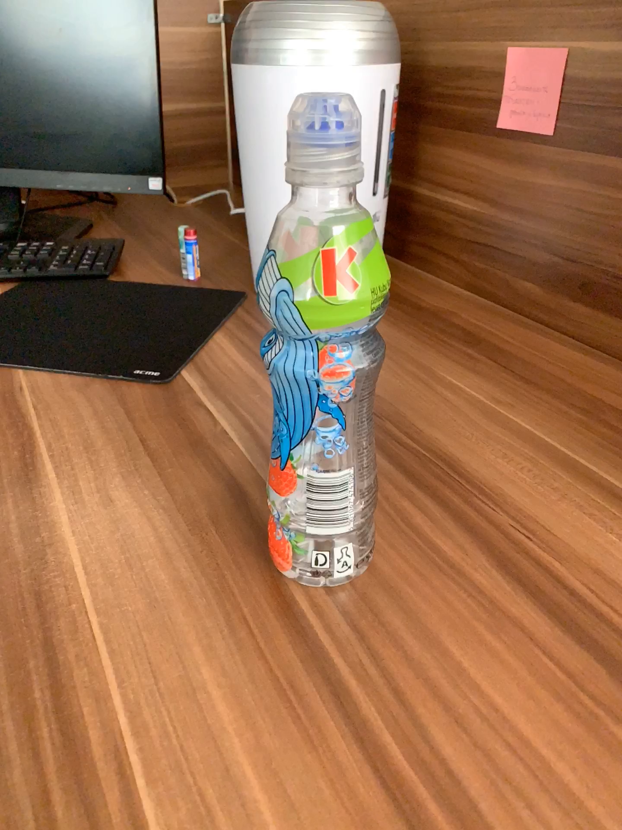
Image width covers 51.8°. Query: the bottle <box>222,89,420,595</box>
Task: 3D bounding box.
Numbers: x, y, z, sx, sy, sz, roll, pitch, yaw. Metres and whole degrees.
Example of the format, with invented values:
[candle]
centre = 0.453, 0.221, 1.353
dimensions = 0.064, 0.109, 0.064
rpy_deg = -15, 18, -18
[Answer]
[bottle]
centre = 0.003, -0.025, 0.317
dimensions = 0.070, 0.239, 0.070
rpy_deg = 0, 30, 0
